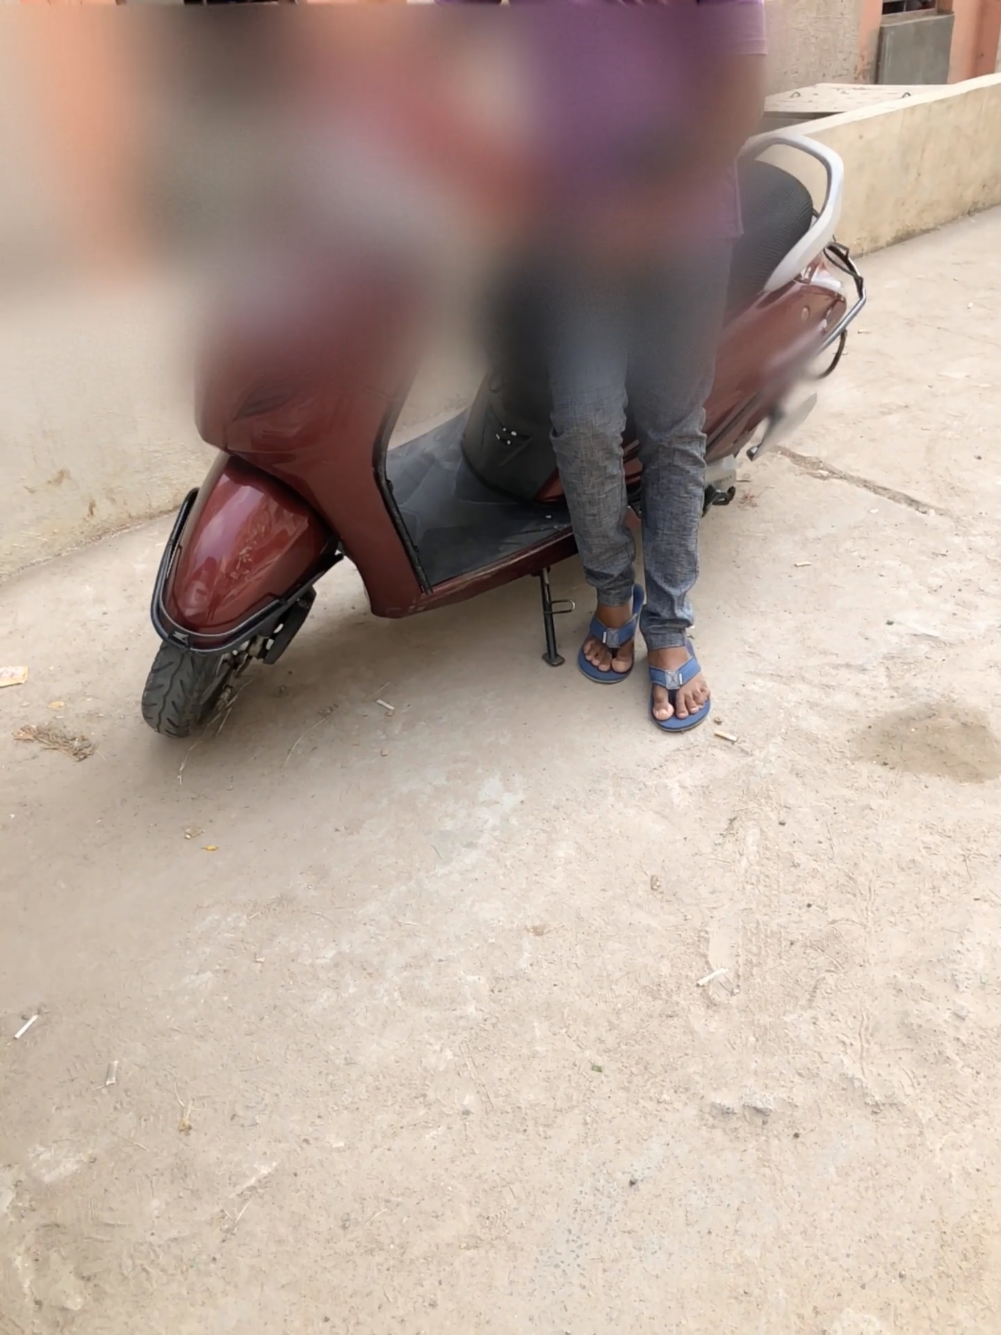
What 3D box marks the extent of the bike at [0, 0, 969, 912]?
[{"bbox_3d":[0.041,-0.529,1.989,1.584,1.073,0.630,-29,40,-31],"label":"bike"}]
